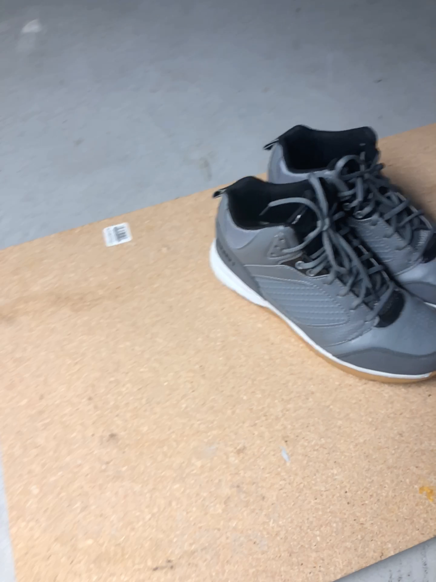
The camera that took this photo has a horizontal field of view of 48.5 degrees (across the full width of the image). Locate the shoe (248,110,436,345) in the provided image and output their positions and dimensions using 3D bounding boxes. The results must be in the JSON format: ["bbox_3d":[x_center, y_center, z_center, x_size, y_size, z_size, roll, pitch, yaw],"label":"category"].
[{"bbox_3d":[0.170,-0.074,0.549,0.260,0.140,0.100,31,64,20],"label":"shoe"}]

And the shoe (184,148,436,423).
[{"bbox_3d":[0.112,-0.012,0.496,0.280,0.120,0.110,34,66,22],"label":"shoe"}]
